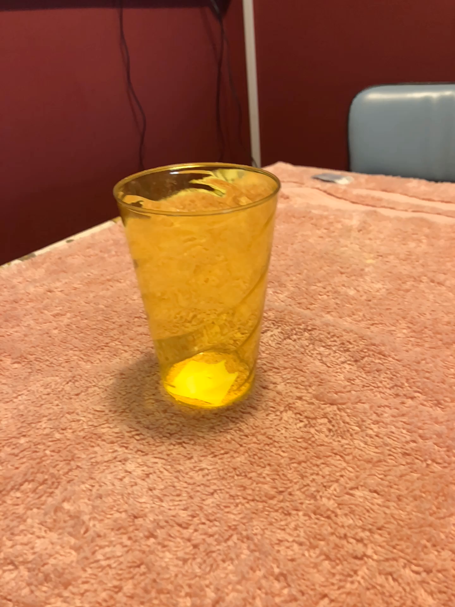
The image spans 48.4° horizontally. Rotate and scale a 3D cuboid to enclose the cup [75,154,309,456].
[{"bbox_3d":[-0.015,-0.006,0.268,0.080,0.119,0.080,-4,27,2],"label":"cup"}]
